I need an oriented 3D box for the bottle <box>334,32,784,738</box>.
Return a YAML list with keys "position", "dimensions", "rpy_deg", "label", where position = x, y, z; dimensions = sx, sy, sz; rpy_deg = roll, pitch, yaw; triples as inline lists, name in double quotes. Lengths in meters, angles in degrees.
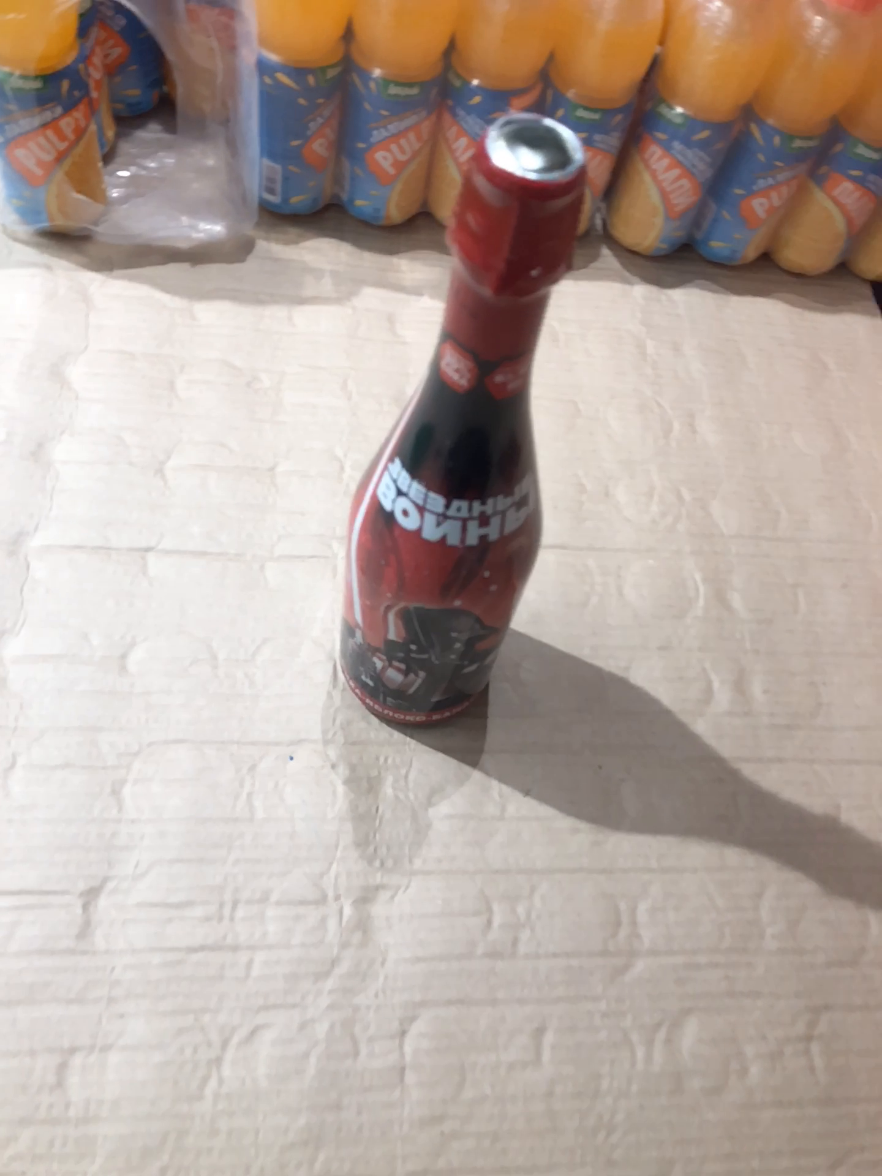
- position: [0.012, -0.034, 0.348]
  dimensions: [0.086, 0.279, 0.085]
  rpy_deg: [4, 61, -7]
  label: "bottle"
